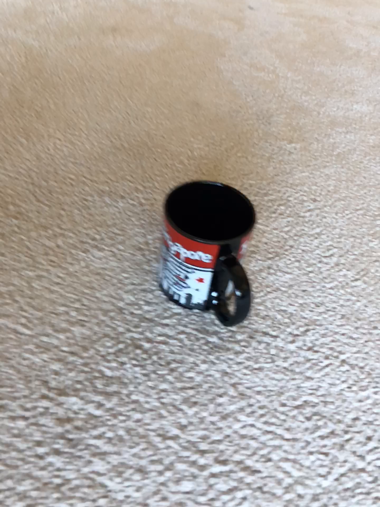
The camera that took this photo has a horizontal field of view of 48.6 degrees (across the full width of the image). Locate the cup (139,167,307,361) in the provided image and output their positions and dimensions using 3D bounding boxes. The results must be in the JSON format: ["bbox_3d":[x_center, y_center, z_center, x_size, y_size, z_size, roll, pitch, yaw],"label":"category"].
[{"bbox_3d":[0.017,0.004,0.365,0.090,0.090,0.131,-9,48,-18],"label":"cup"}]
